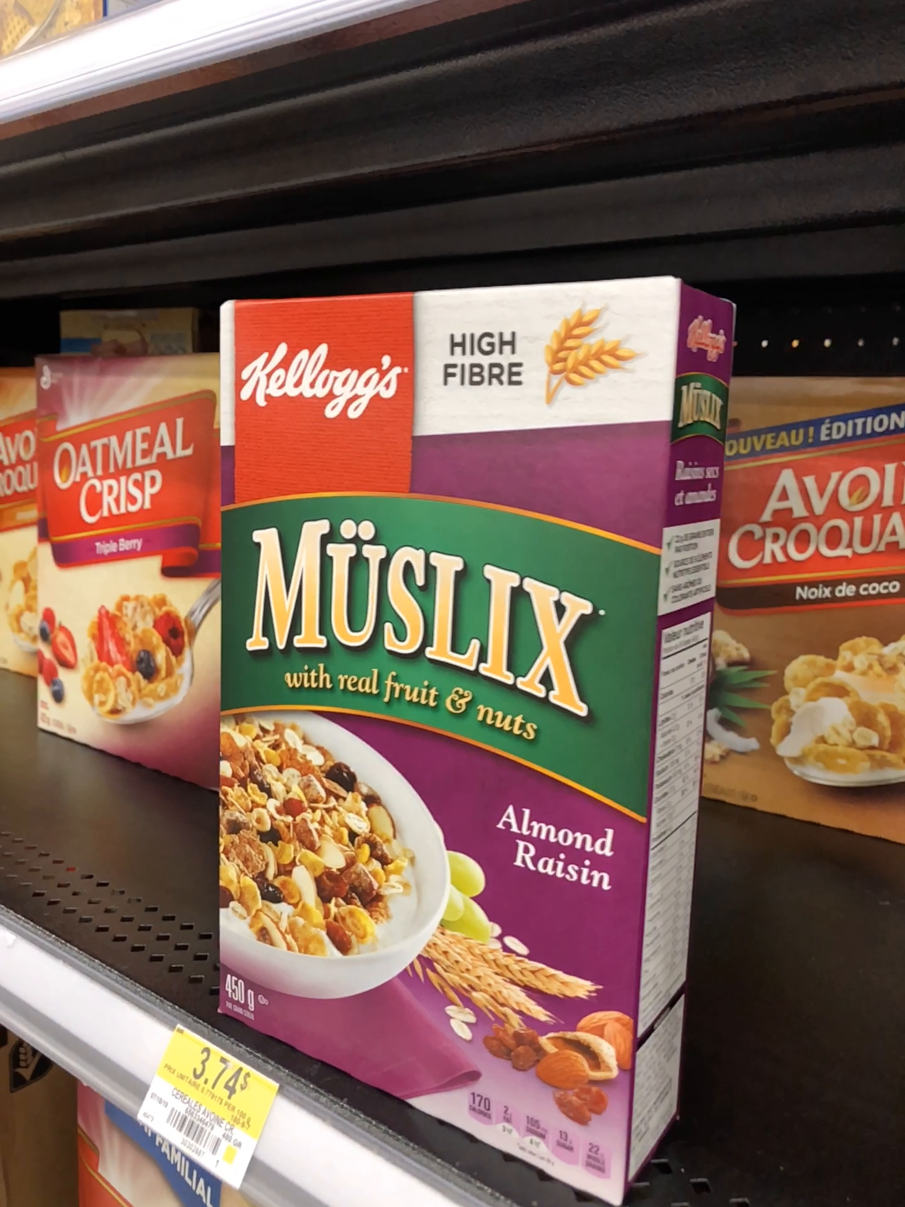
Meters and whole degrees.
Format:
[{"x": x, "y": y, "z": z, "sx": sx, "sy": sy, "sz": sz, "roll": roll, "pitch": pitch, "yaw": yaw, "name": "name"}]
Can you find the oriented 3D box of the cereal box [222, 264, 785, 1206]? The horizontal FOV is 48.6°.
[{"x": 0.006, "y": 0.031, "z": 0.335, "sx": 0.170, "sy": 0.259, "sz": 0.060, "roll": 8, "pitch": 11, "yaw": 33, "name": "cereal box"}]
